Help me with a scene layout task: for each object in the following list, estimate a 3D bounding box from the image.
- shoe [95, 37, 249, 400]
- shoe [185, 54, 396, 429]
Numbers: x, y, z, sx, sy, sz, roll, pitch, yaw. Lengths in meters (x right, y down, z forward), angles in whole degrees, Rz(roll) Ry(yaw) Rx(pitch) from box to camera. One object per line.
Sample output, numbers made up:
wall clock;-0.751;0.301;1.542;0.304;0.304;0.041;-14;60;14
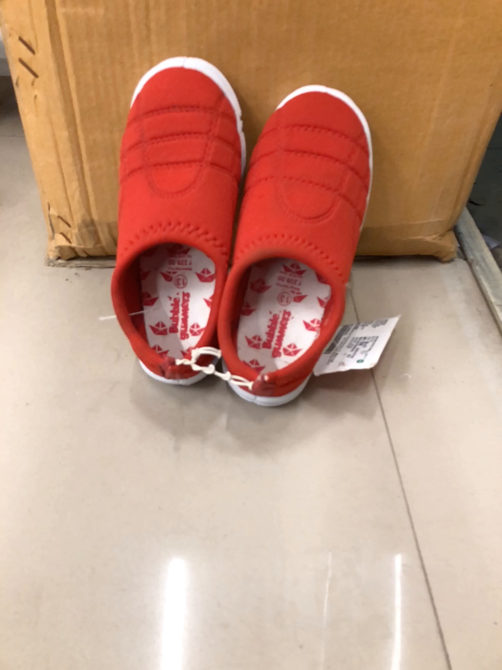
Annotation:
shoe;-0.048;-0.069;0.359;0.084;0.204;0.082;2;7;0
shoe;0.028;-0.057;0.363;0.084;0.208;0.081;12;5;11
